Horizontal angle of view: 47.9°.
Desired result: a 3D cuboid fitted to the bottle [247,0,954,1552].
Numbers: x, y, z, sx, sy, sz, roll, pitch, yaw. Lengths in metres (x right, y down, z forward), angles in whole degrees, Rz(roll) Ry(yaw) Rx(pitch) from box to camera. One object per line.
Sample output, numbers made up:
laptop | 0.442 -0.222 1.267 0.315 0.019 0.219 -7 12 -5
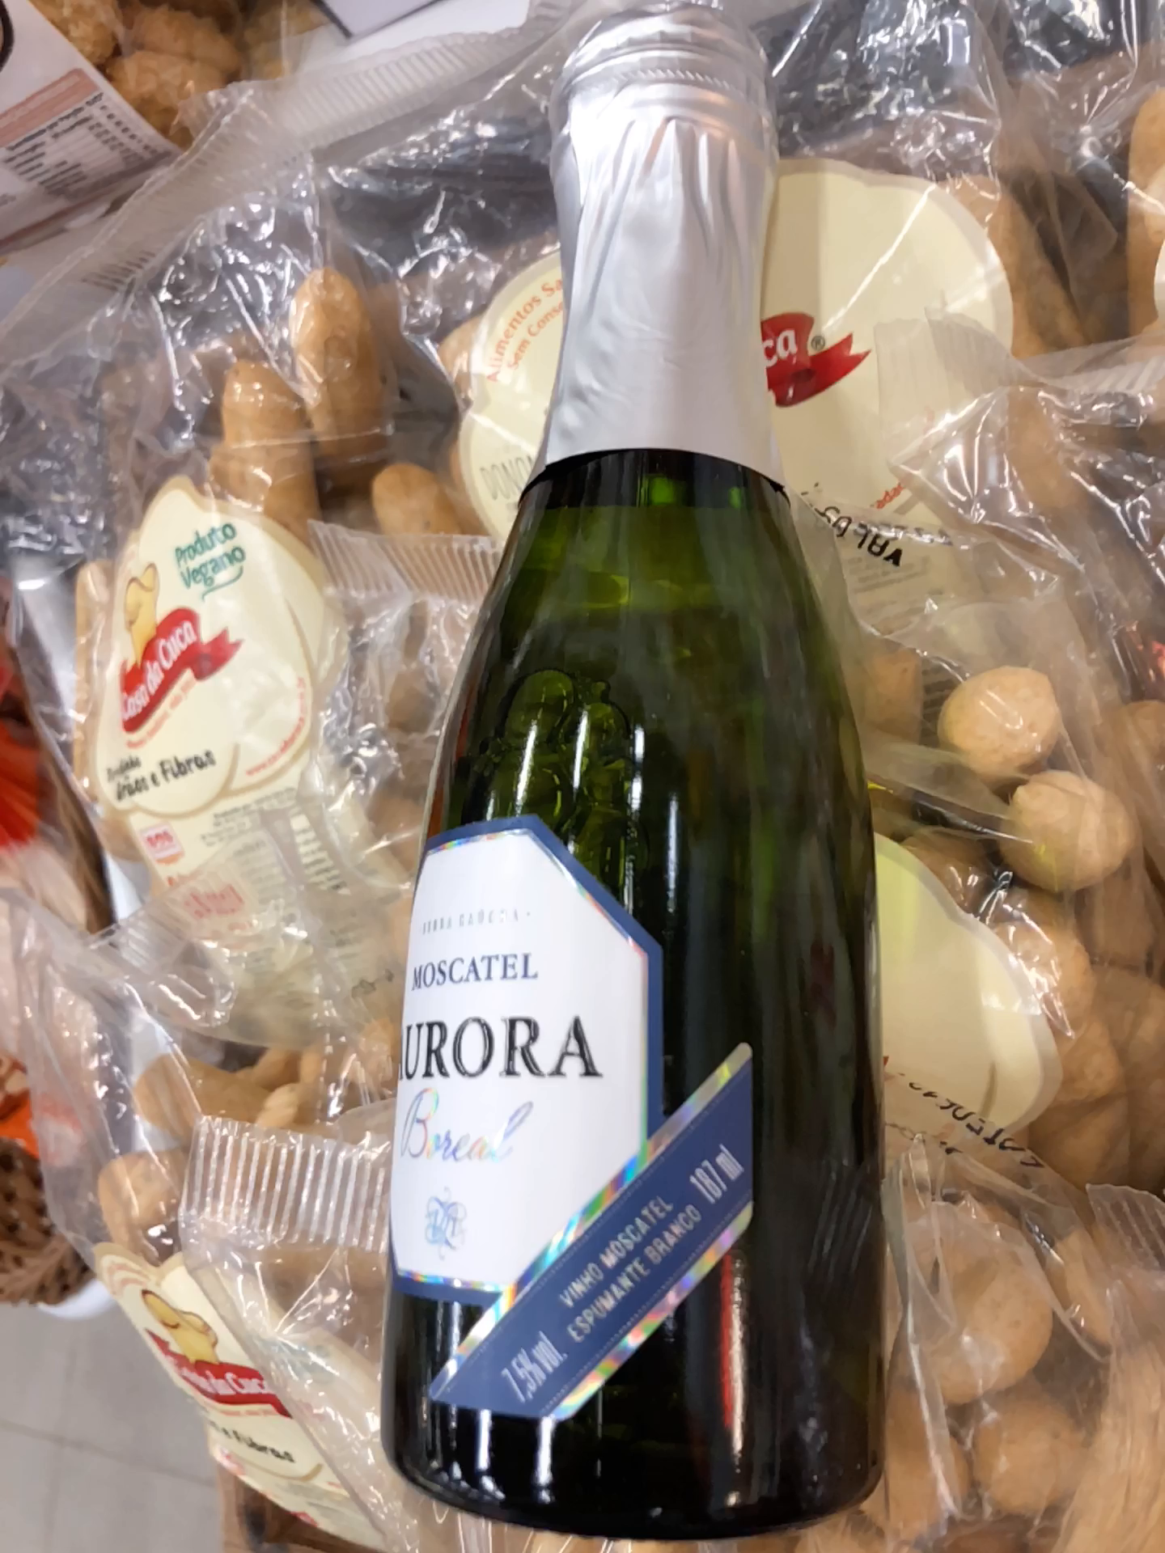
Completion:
bottle | 0.005 -0.011 0.159 0.060 0.050 0.200 -5 79 29
